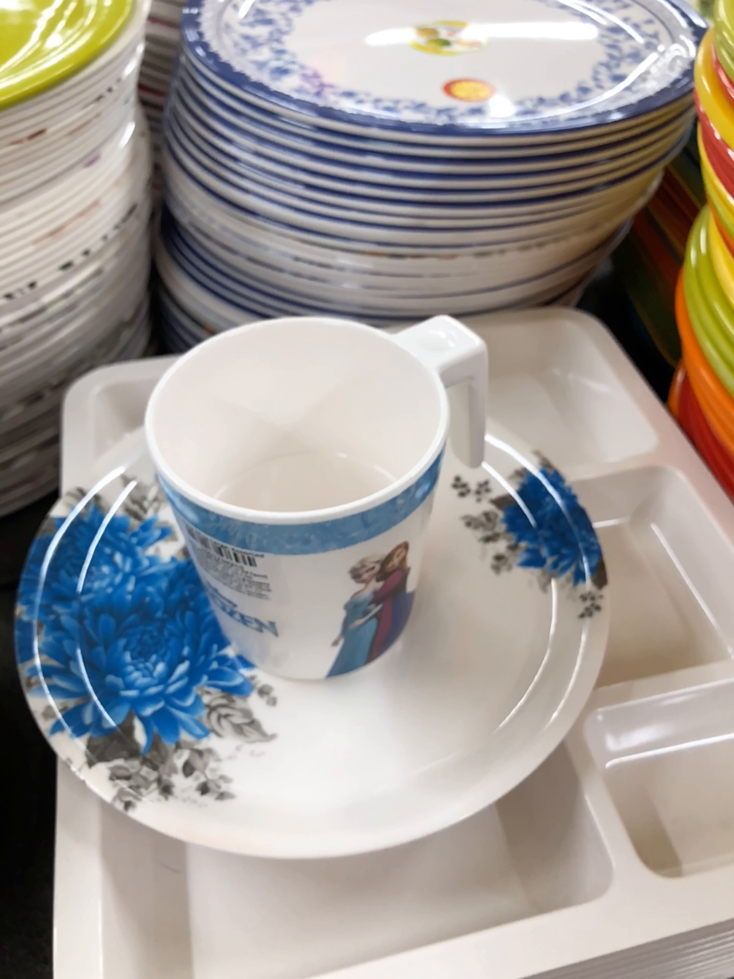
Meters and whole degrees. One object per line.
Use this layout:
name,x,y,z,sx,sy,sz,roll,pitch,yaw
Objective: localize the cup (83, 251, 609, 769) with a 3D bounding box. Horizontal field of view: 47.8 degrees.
cup,-0.007,0.003,0.246,0.110,0.090,0.080,-25,53,-23
